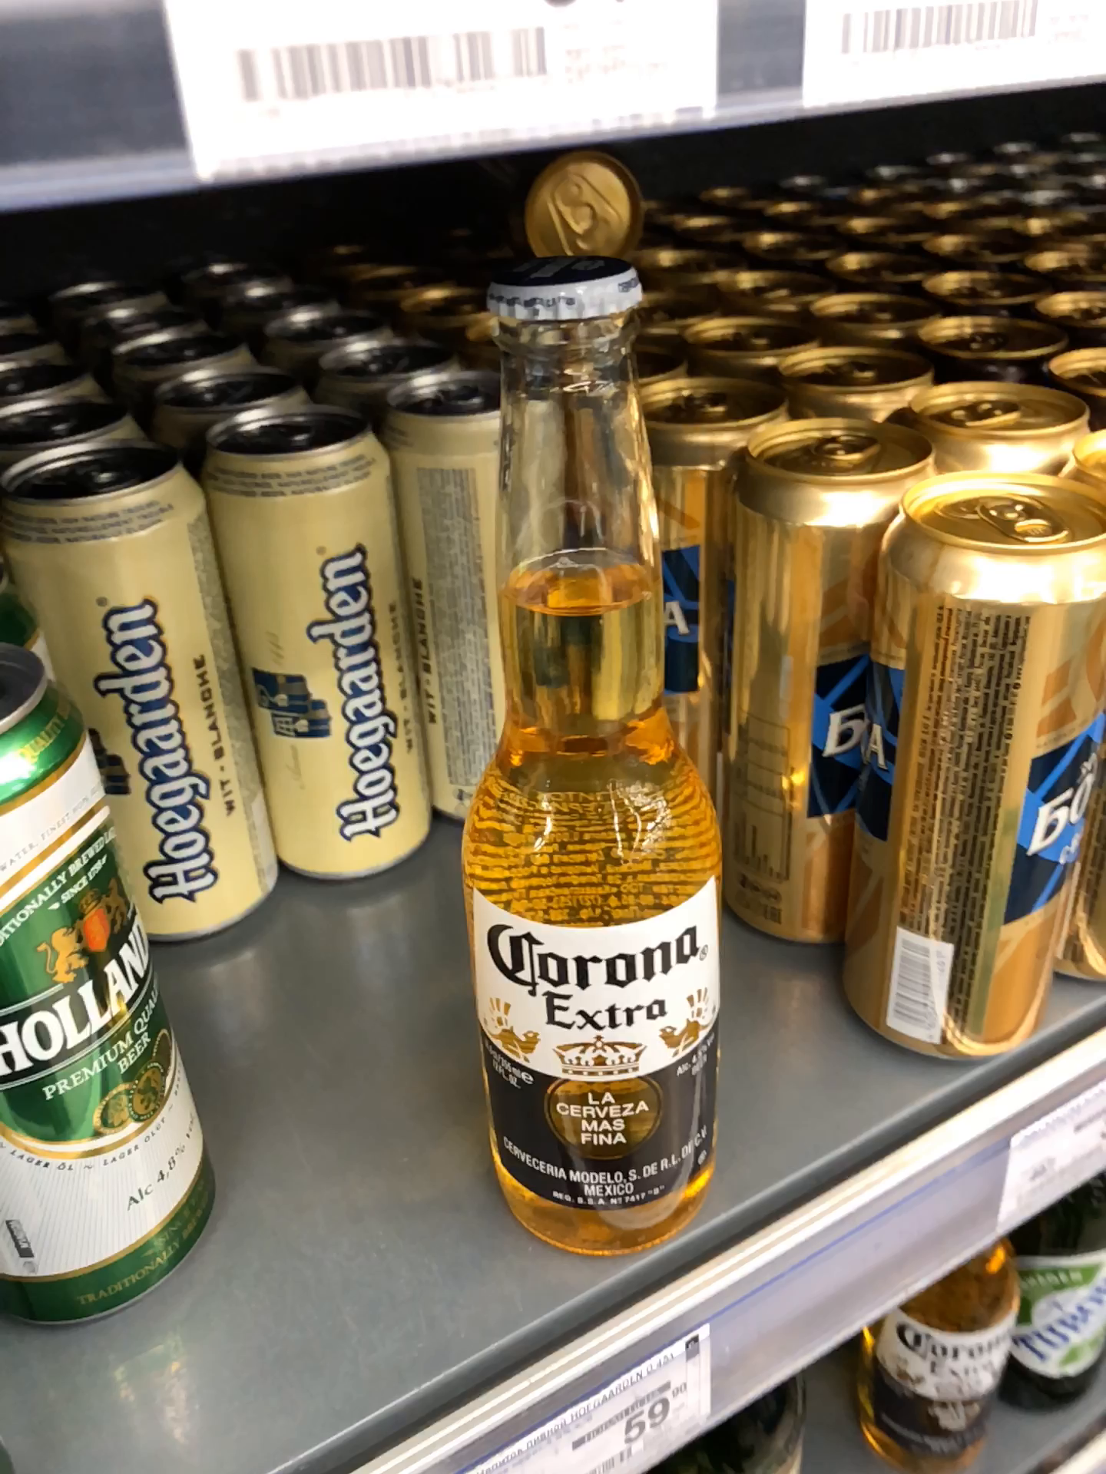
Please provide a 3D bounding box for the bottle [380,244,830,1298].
[{"bbox_3d":[0.011,0.022,0.276,0.070,0.237,0.060,-5,31,-3],"label":"bottle"}]
